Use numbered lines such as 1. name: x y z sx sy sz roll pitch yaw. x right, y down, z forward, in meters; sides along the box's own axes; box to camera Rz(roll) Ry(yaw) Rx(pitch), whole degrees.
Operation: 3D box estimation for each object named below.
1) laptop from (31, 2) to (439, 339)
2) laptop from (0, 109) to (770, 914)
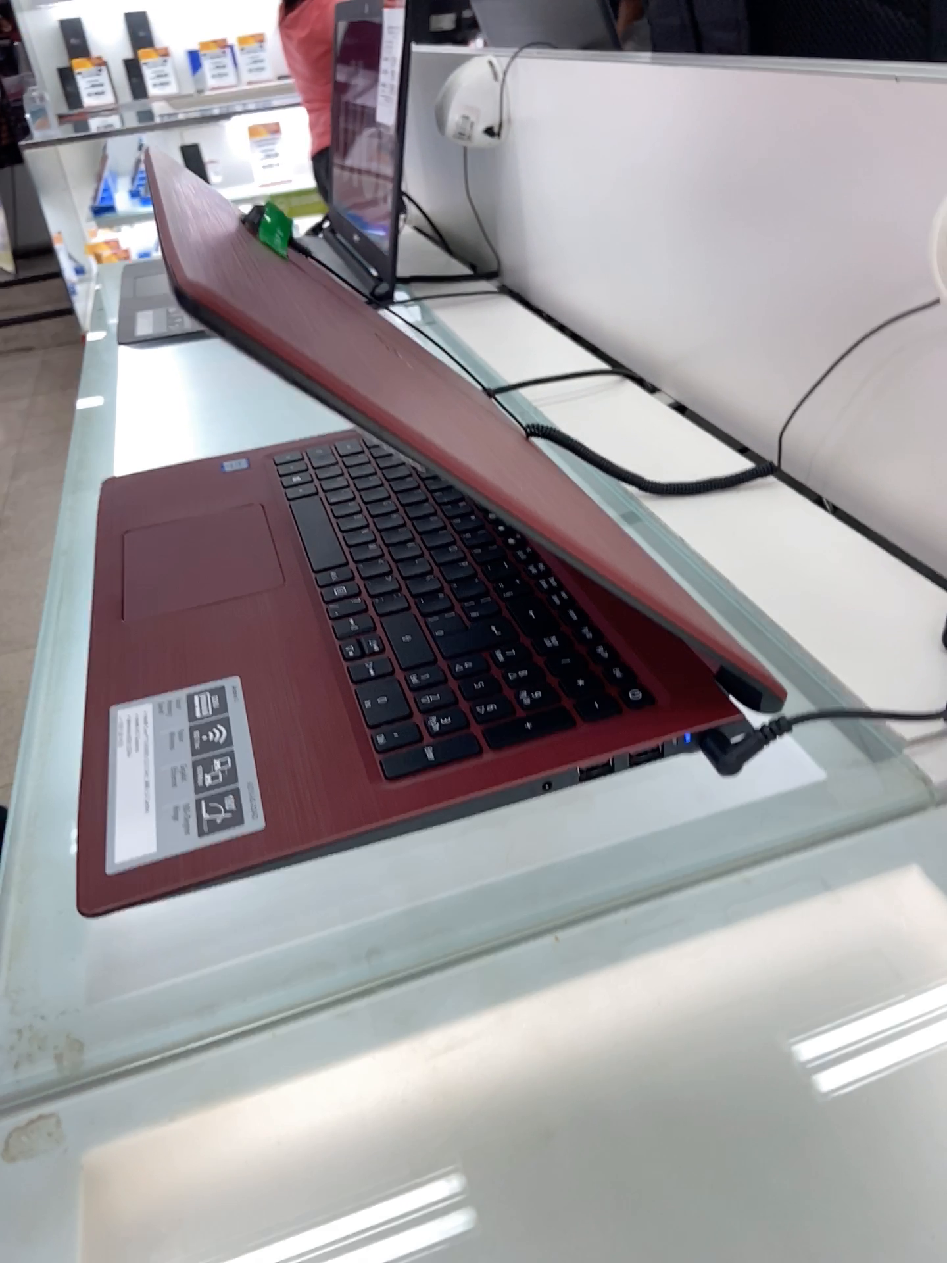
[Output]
1. laptop: -0.242 -0.488 0.997 0.304 0.230 0.330 -14 35 -10
2. laptop: -0.077 -0.106 0.437 0.238 0.179 0.369 -15 34 -11
